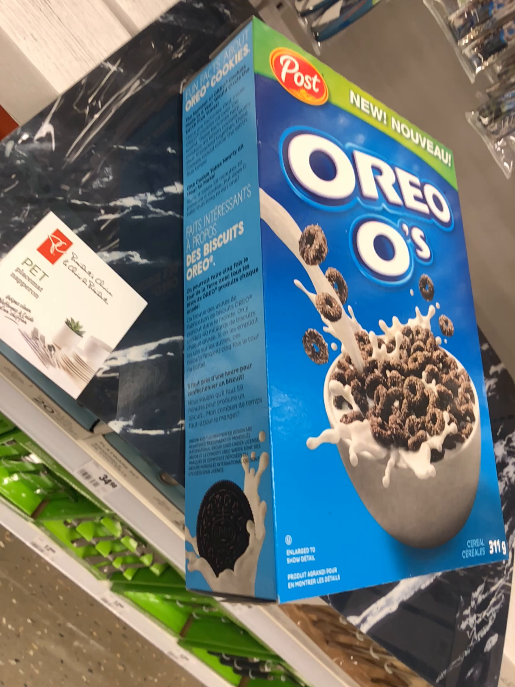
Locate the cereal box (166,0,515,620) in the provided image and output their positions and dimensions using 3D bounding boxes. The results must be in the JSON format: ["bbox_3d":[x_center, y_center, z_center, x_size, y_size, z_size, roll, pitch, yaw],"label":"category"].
[{"bbox_3d":[0.055,-0.019,0.342,0.211,0.070,0.300,12,67,-41],"label":"cereal box"}]
